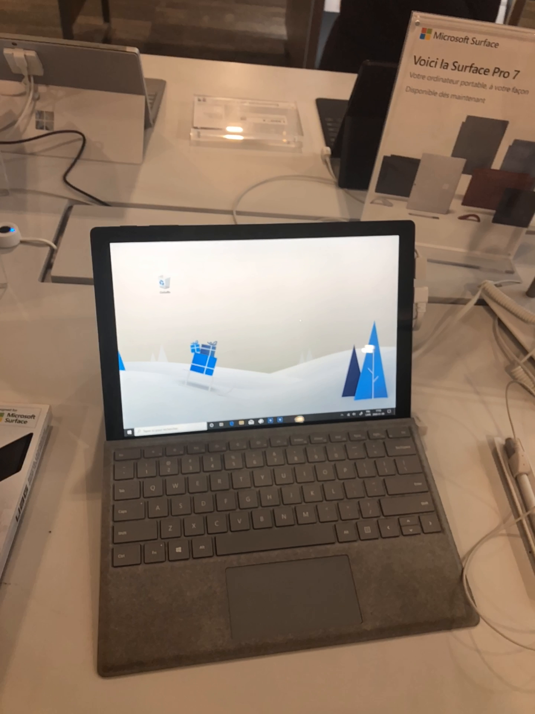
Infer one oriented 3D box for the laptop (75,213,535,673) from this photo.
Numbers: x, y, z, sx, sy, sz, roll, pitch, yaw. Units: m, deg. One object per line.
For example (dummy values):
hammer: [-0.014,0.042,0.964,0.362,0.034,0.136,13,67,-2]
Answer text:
laptop: [0.009,0.045,0.482,0.285,0.150,0.308,-3,51,-11]
